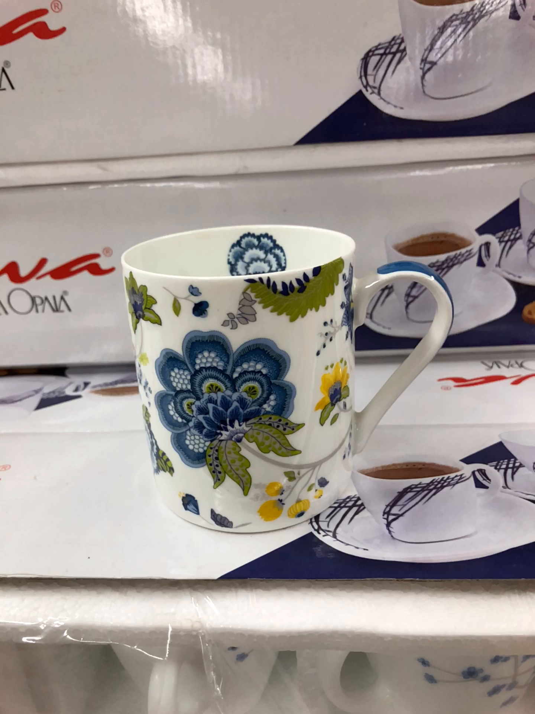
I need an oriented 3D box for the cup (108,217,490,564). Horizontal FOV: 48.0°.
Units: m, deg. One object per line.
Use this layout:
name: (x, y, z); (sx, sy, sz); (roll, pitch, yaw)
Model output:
cup: (0.009, 0.007, 0.207); (0.100, 0.089, 0.070); (-4, 24, -2)
